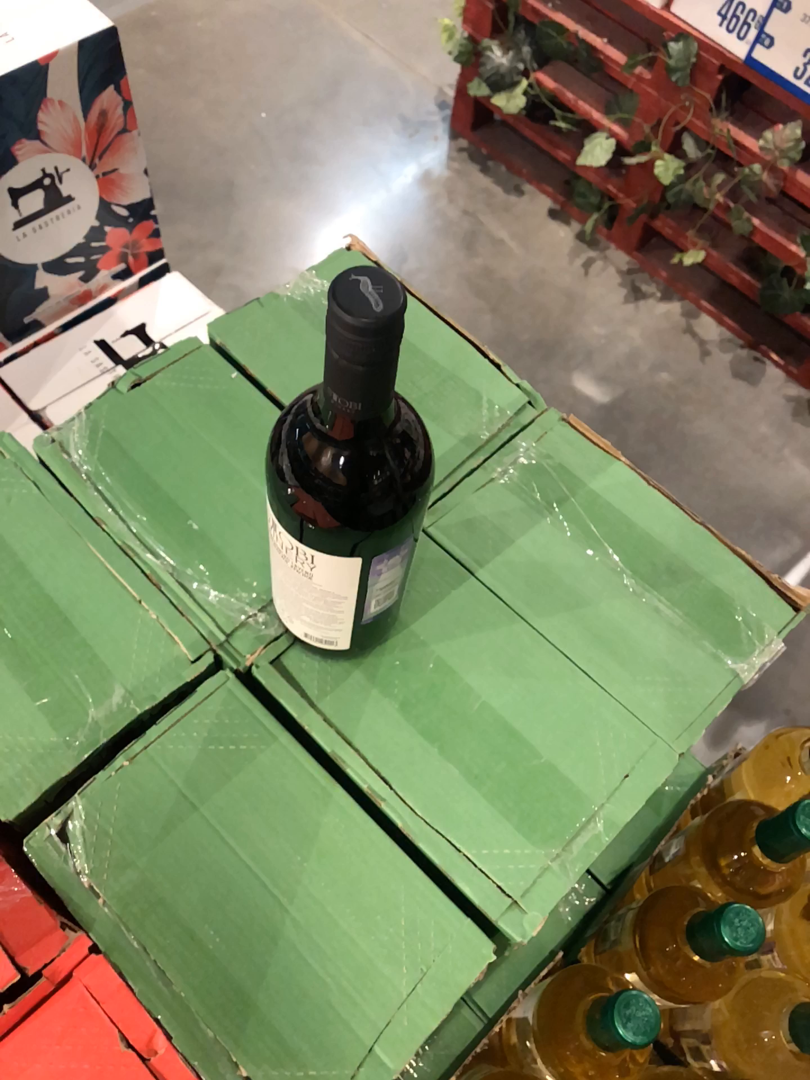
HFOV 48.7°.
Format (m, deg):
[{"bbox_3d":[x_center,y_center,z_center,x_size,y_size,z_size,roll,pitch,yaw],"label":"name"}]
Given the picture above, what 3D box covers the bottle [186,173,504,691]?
[{"bbox_3d":[-0.033,-0.028,0.461,0.080,0.289,0.090,-36,70,-21],"label":"bottle"}]
